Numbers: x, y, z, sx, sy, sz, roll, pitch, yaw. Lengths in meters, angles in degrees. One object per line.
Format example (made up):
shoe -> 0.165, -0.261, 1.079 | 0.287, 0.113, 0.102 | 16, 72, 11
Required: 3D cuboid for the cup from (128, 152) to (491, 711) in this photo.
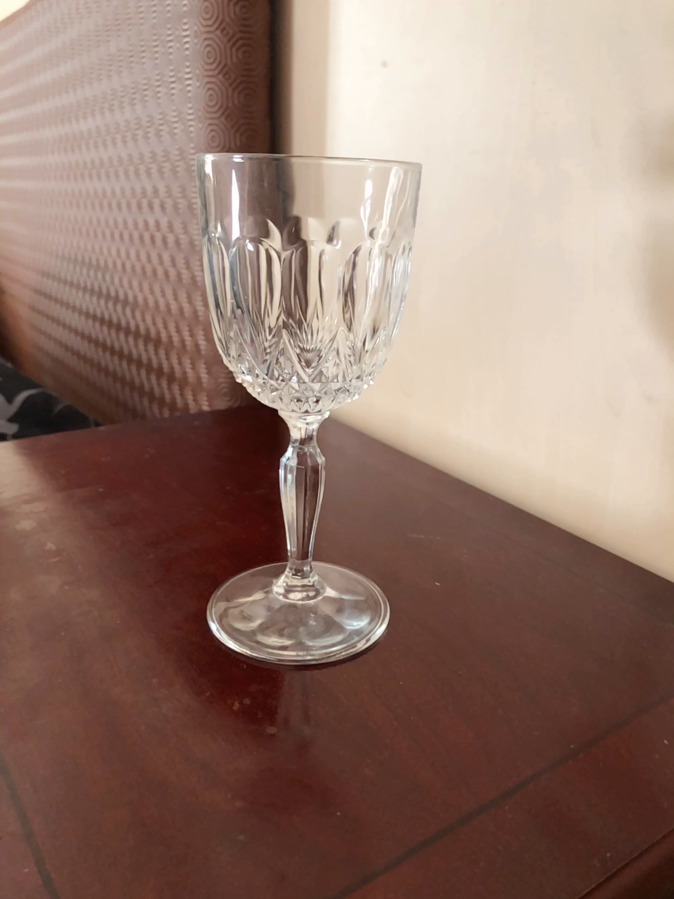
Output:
cup -> -0.016, -0.016, 0.290 | 0.092, 0.178, 0.096 | 2, 19, -1
